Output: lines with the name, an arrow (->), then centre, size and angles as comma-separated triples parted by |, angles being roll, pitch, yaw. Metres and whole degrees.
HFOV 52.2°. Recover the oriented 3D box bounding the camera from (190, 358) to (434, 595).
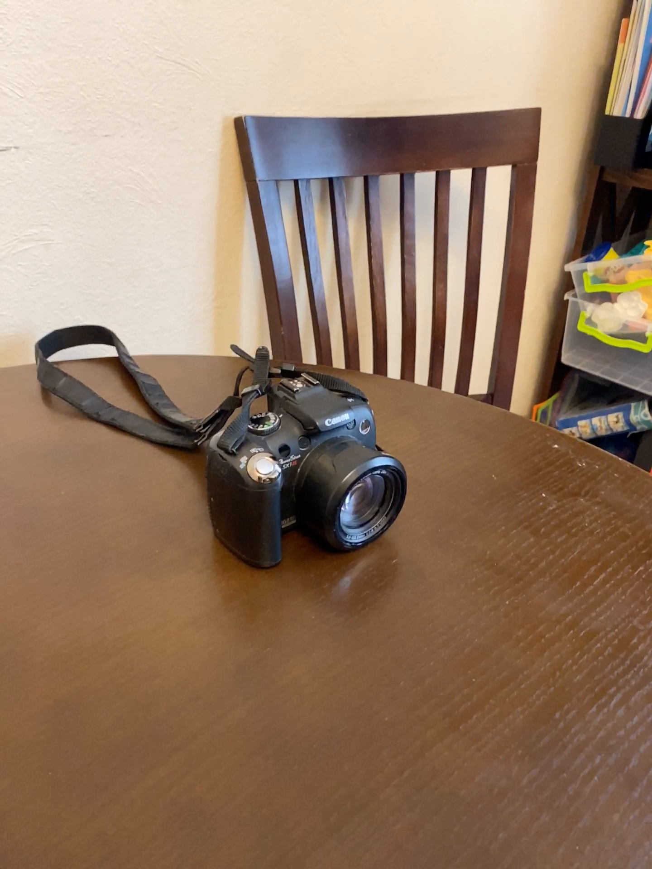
camera -> -0.009, 0.020, 0.423 | 0.123, 0.088, 0.082 | -19, 37, -32
